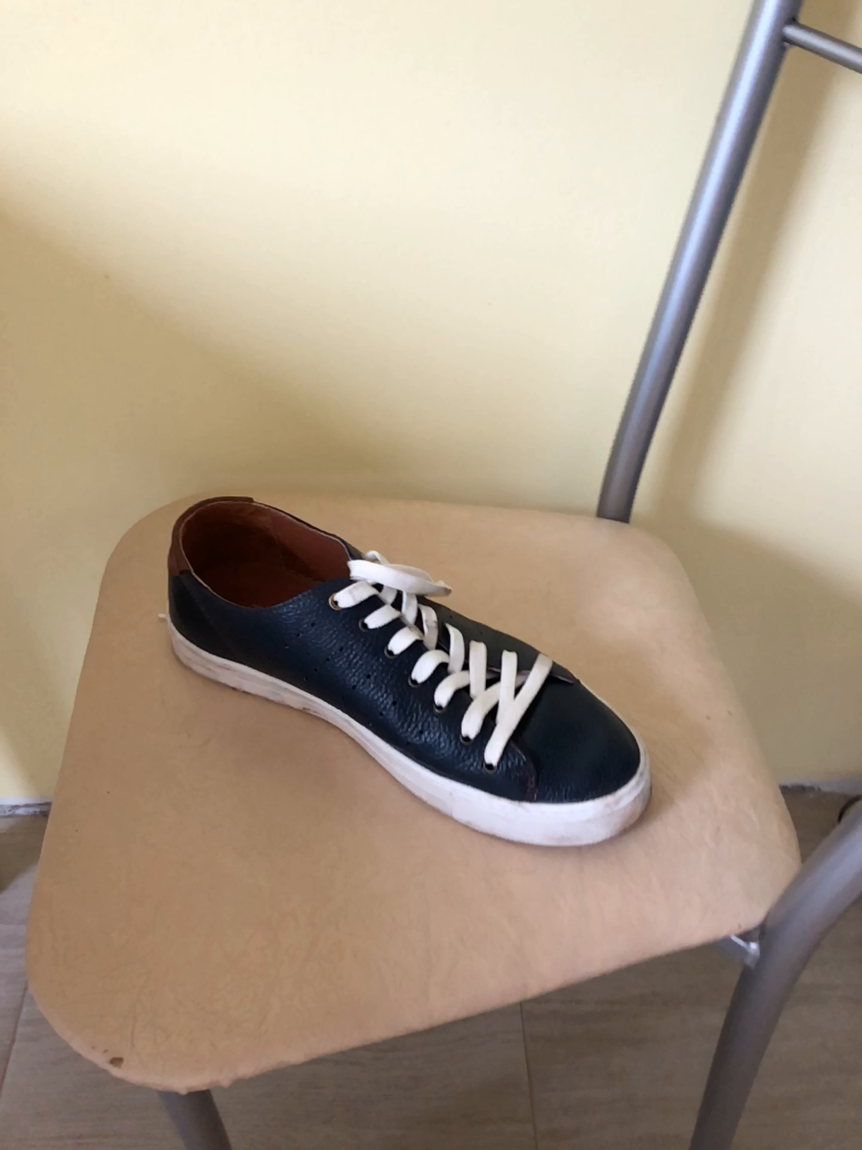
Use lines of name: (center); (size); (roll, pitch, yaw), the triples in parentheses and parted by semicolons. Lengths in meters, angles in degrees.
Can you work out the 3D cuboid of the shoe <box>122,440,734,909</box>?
shoe: (-0.009, 0.038, 0.500); (0.290, 0.089, 0.111); (23, 47, 22)
